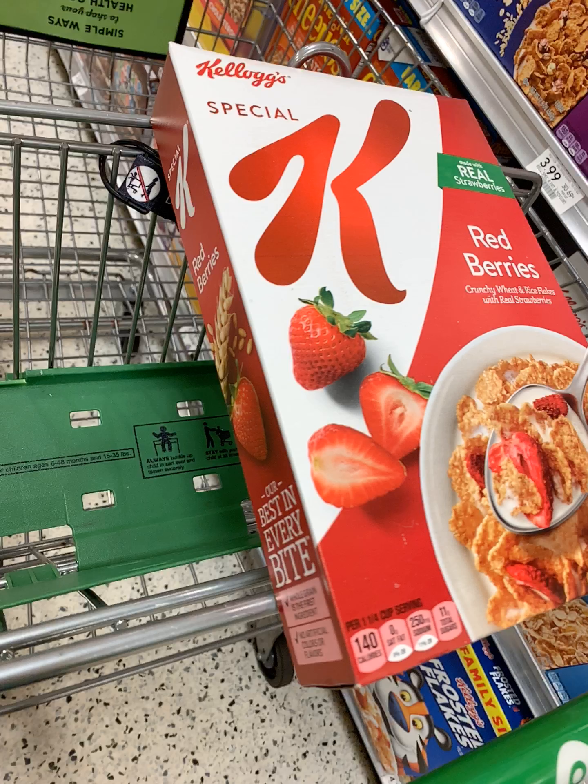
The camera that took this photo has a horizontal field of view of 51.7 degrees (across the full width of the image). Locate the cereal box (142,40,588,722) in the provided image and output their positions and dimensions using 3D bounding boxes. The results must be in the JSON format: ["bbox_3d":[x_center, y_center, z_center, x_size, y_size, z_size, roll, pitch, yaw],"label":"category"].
[{"bbox_3d":[0.059,-0.029,0.293,0.201,0.050,0.281,-6,67,-30],"label":"cereal box"}]
